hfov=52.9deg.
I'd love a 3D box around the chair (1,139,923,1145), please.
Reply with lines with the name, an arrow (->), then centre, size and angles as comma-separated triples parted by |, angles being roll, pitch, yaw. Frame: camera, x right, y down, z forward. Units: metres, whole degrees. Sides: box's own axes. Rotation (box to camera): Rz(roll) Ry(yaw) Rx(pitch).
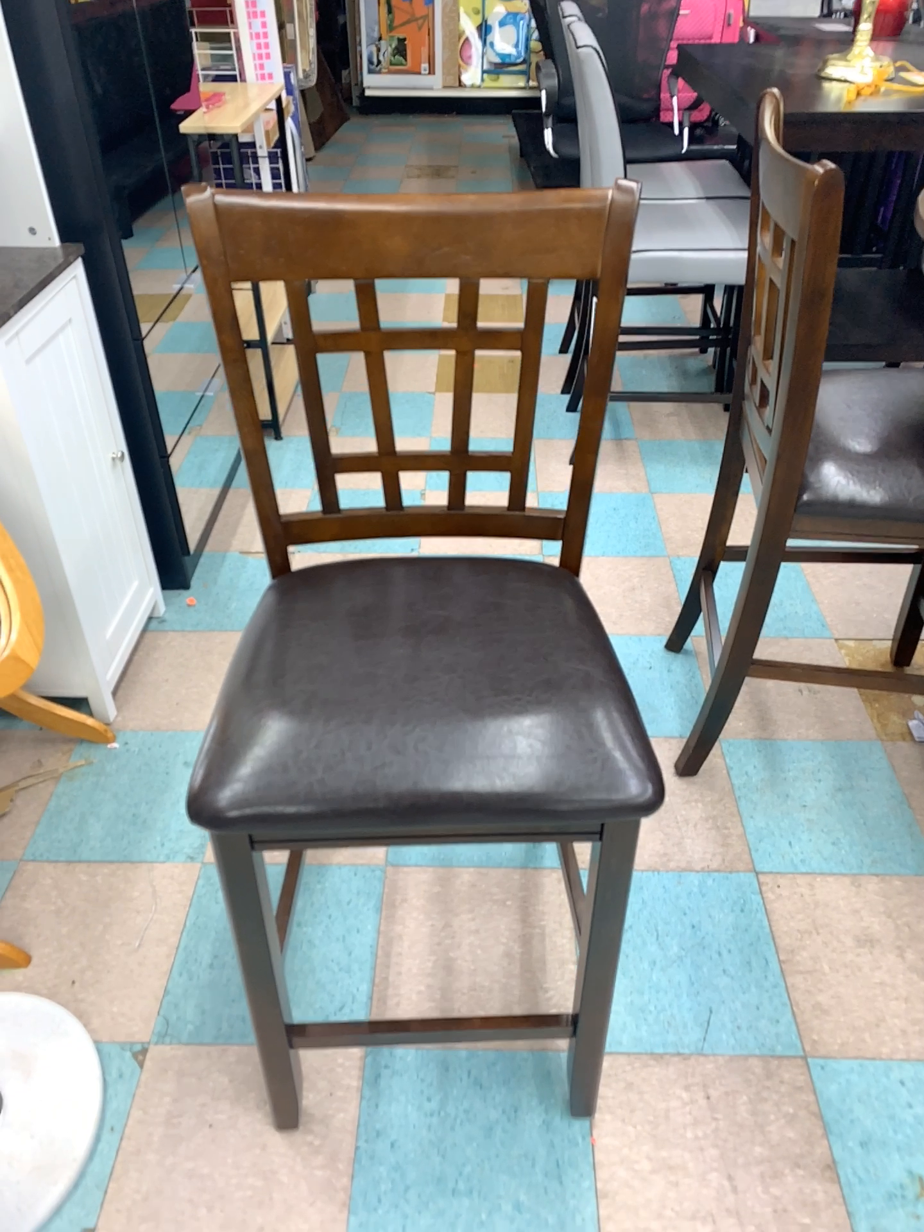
chair -> 0.008, 0.065, 0.897 | 0.468, 0.849, 0.483 | -1, 39, -2
